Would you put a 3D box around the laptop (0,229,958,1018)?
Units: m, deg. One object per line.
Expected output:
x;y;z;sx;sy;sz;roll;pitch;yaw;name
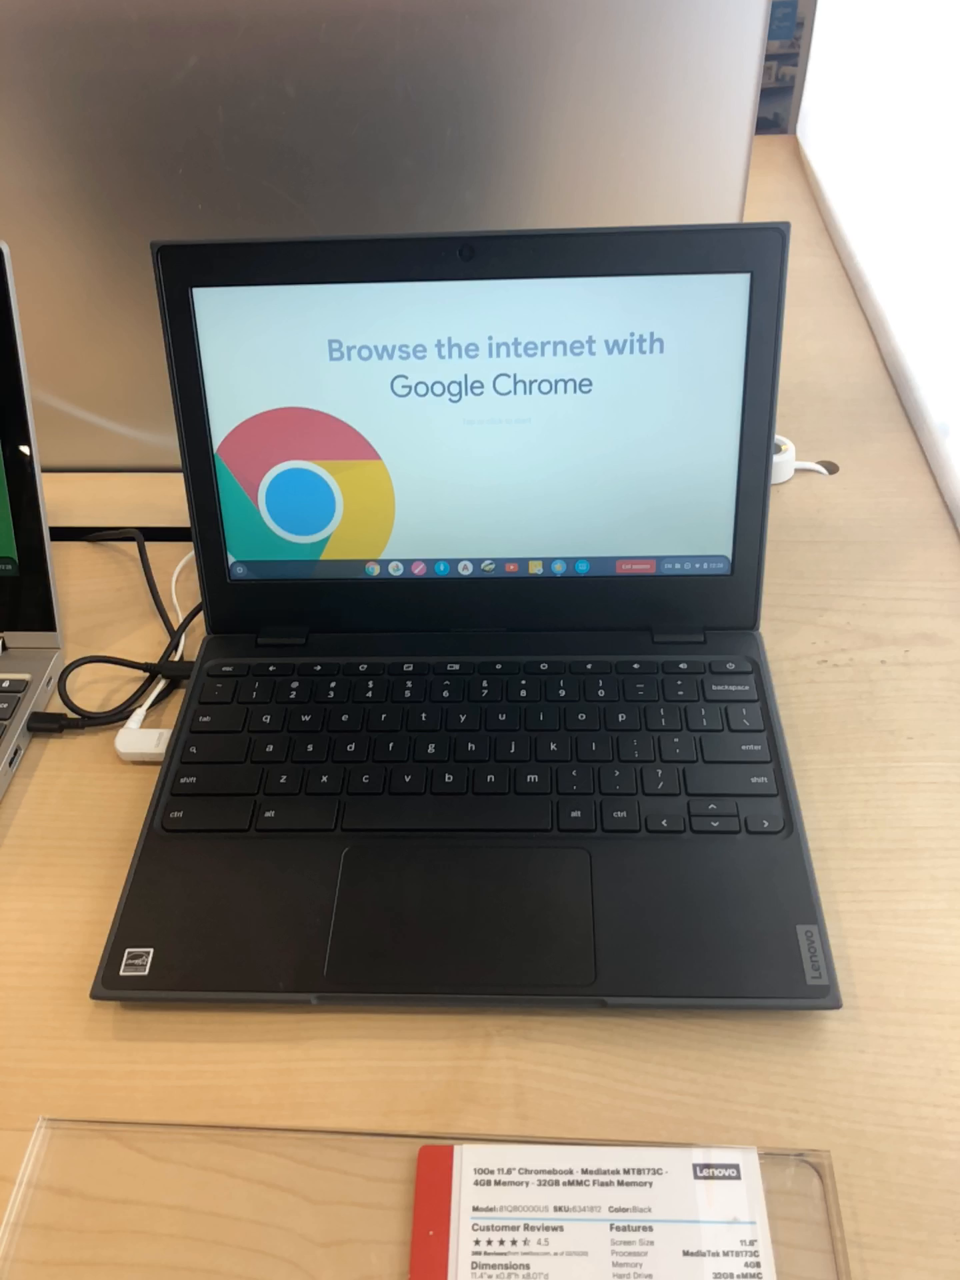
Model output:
-0.003;-0.019;0.439;0.281;0.178;0.272;-1;43;4;laptop
